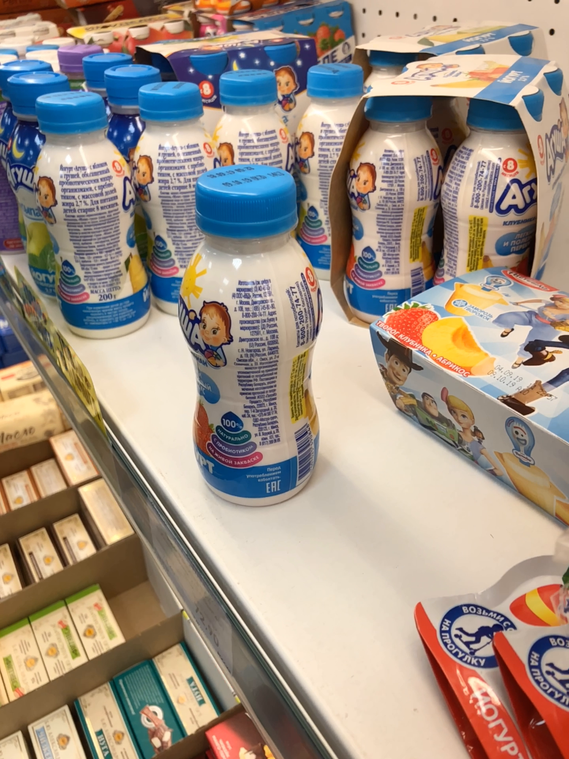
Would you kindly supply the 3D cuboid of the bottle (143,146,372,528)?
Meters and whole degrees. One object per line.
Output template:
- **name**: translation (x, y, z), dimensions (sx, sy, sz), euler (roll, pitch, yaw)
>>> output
- **bottle**: translation (-0.010, -0.016, 0.253), dimensions (0.060, 0.129, 0.060), euler (-1, 35, 1)
